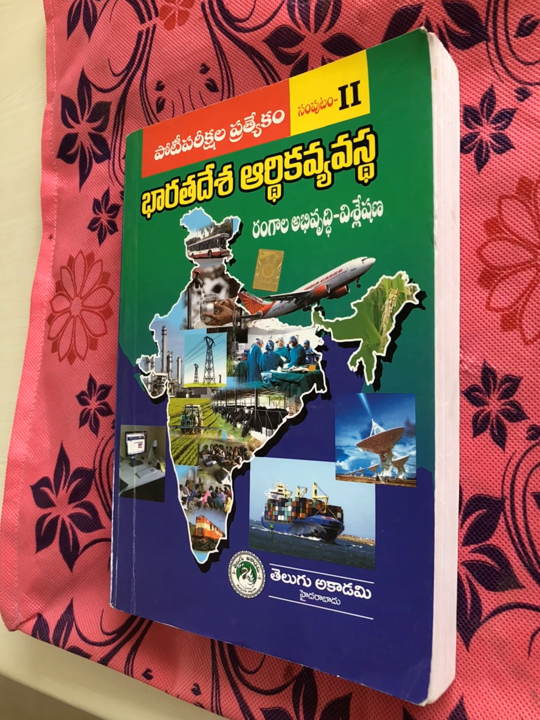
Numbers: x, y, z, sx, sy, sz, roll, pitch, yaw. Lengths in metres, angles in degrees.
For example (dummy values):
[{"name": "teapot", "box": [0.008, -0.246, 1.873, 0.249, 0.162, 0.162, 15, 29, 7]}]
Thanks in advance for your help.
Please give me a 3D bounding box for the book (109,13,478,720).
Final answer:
[{"name": "book", "box": [0.002, 0.001, 0.306, 0.191, 0.040, 0.280, -2, 86, 33]}]
